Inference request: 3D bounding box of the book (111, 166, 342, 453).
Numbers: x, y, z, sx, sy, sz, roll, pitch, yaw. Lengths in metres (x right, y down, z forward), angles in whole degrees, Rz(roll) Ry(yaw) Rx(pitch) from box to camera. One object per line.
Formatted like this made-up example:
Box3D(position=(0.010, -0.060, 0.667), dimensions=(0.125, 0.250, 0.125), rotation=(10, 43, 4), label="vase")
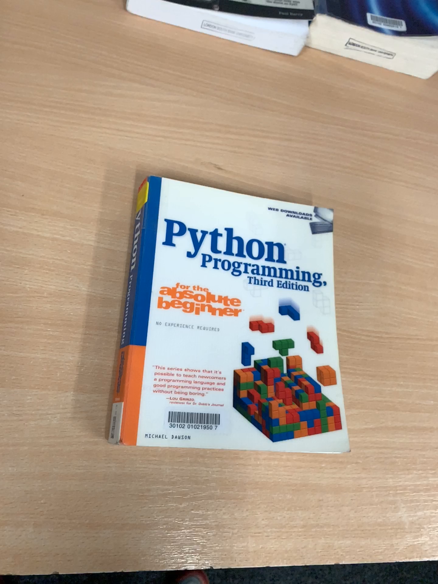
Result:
Box3D(position=(0.012, 0.016, 0.382), dimensions=(0.174, 0.039, 0.219), rotation=(7, 72, -14), label="book")
